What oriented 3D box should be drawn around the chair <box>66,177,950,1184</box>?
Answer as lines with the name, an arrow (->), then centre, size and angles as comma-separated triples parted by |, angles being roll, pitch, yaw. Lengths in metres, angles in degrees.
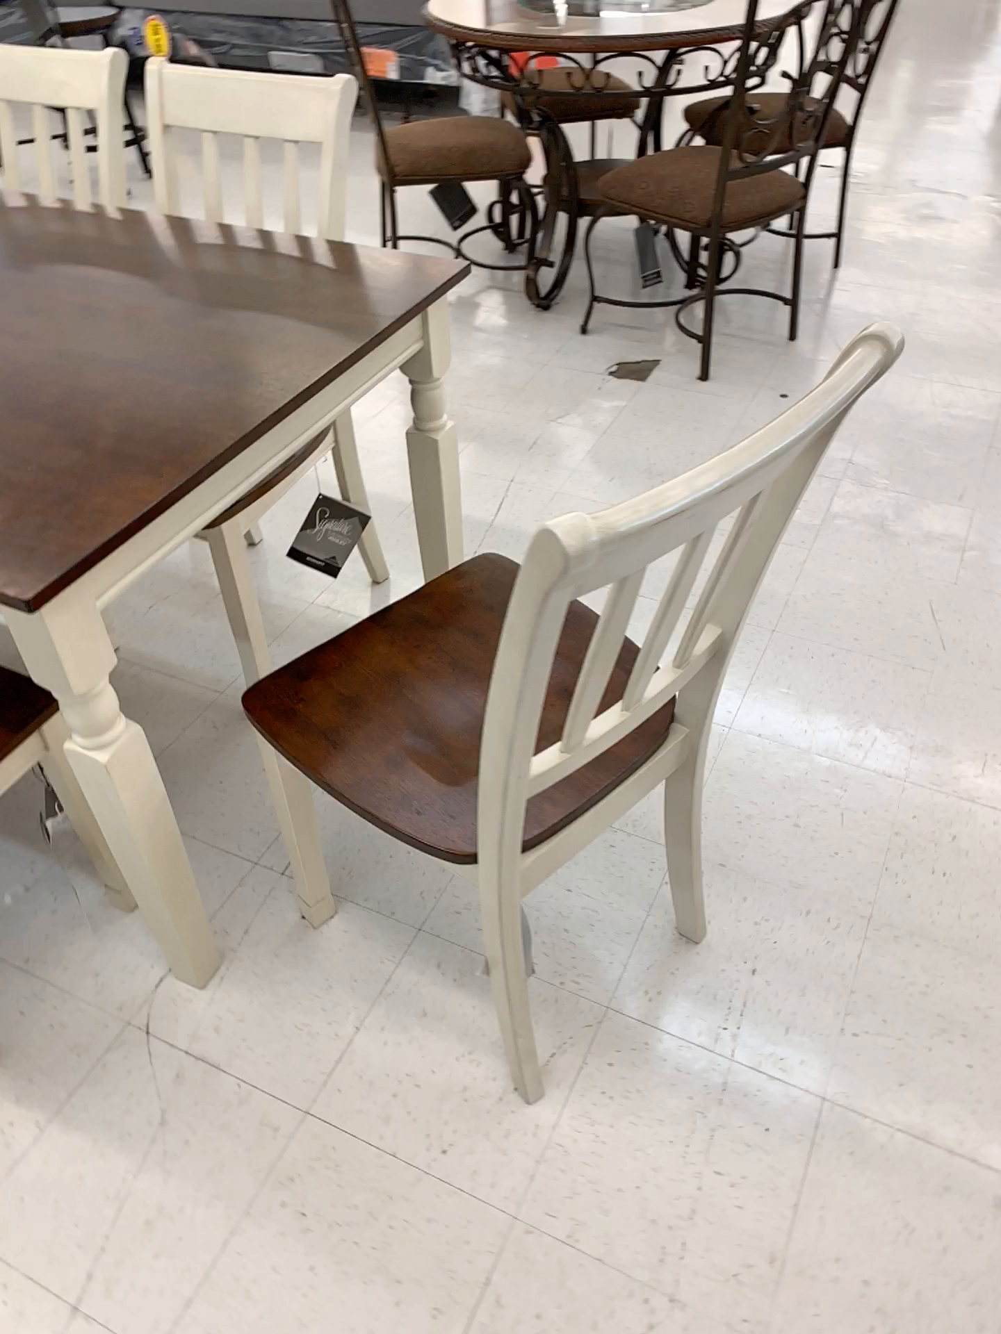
chair -> 0.012, 0.020, 1.214 | 0.596, 0.903, 0.525 | 32, 52, 32

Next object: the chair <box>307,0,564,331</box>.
chair -> -0.169, -1.572, 2.946 | 0.604, 0.972, 0.476 | -9, 42, -7

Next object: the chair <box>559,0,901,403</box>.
chair -> 0.527, -1.317, 2.642 | 0.465, 0.982, 0.606 | -29, 48, -26

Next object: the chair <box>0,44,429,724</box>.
chair -> -0.514, -0.493, 1.812 | 0.465, 0.932, 0.606 | 17, 45, 20
